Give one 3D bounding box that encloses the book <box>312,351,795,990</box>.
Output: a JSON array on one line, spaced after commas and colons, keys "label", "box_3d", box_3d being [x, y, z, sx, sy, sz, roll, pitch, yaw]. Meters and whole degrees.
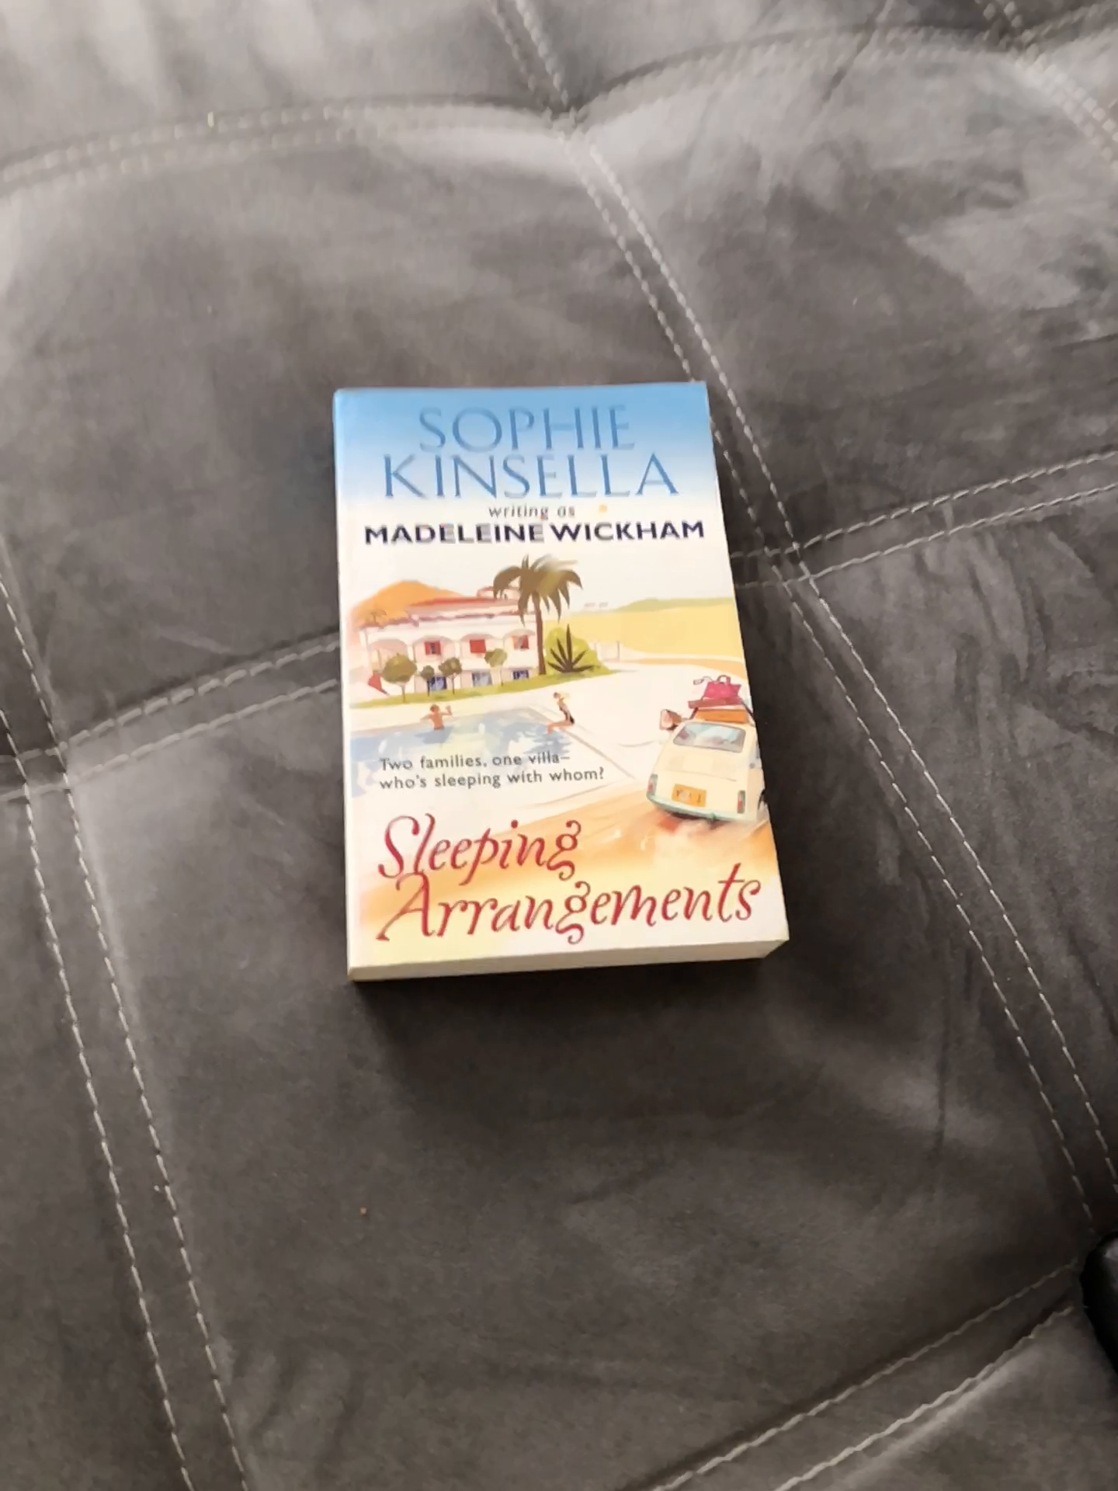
[{"label": "book", "box_3d": [-0.009, -0.031, 0.385, 0.130, 0.030, 0.200, -2, 68, -9]}]
